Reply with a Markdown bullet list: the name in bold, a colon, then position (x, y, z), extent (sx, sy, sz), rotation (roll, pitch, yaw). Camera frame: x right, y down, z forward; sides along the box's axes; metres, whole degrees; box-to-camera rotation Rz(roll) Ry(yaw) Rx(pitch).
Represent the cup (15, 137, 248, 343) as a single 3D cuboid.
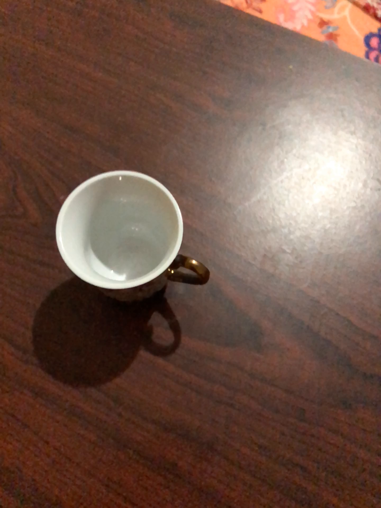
- **cup**: position (-0.026, -0.006, 0.228), extent (0.090, 0.050, 0.070), rotation (20, 70, 7)
